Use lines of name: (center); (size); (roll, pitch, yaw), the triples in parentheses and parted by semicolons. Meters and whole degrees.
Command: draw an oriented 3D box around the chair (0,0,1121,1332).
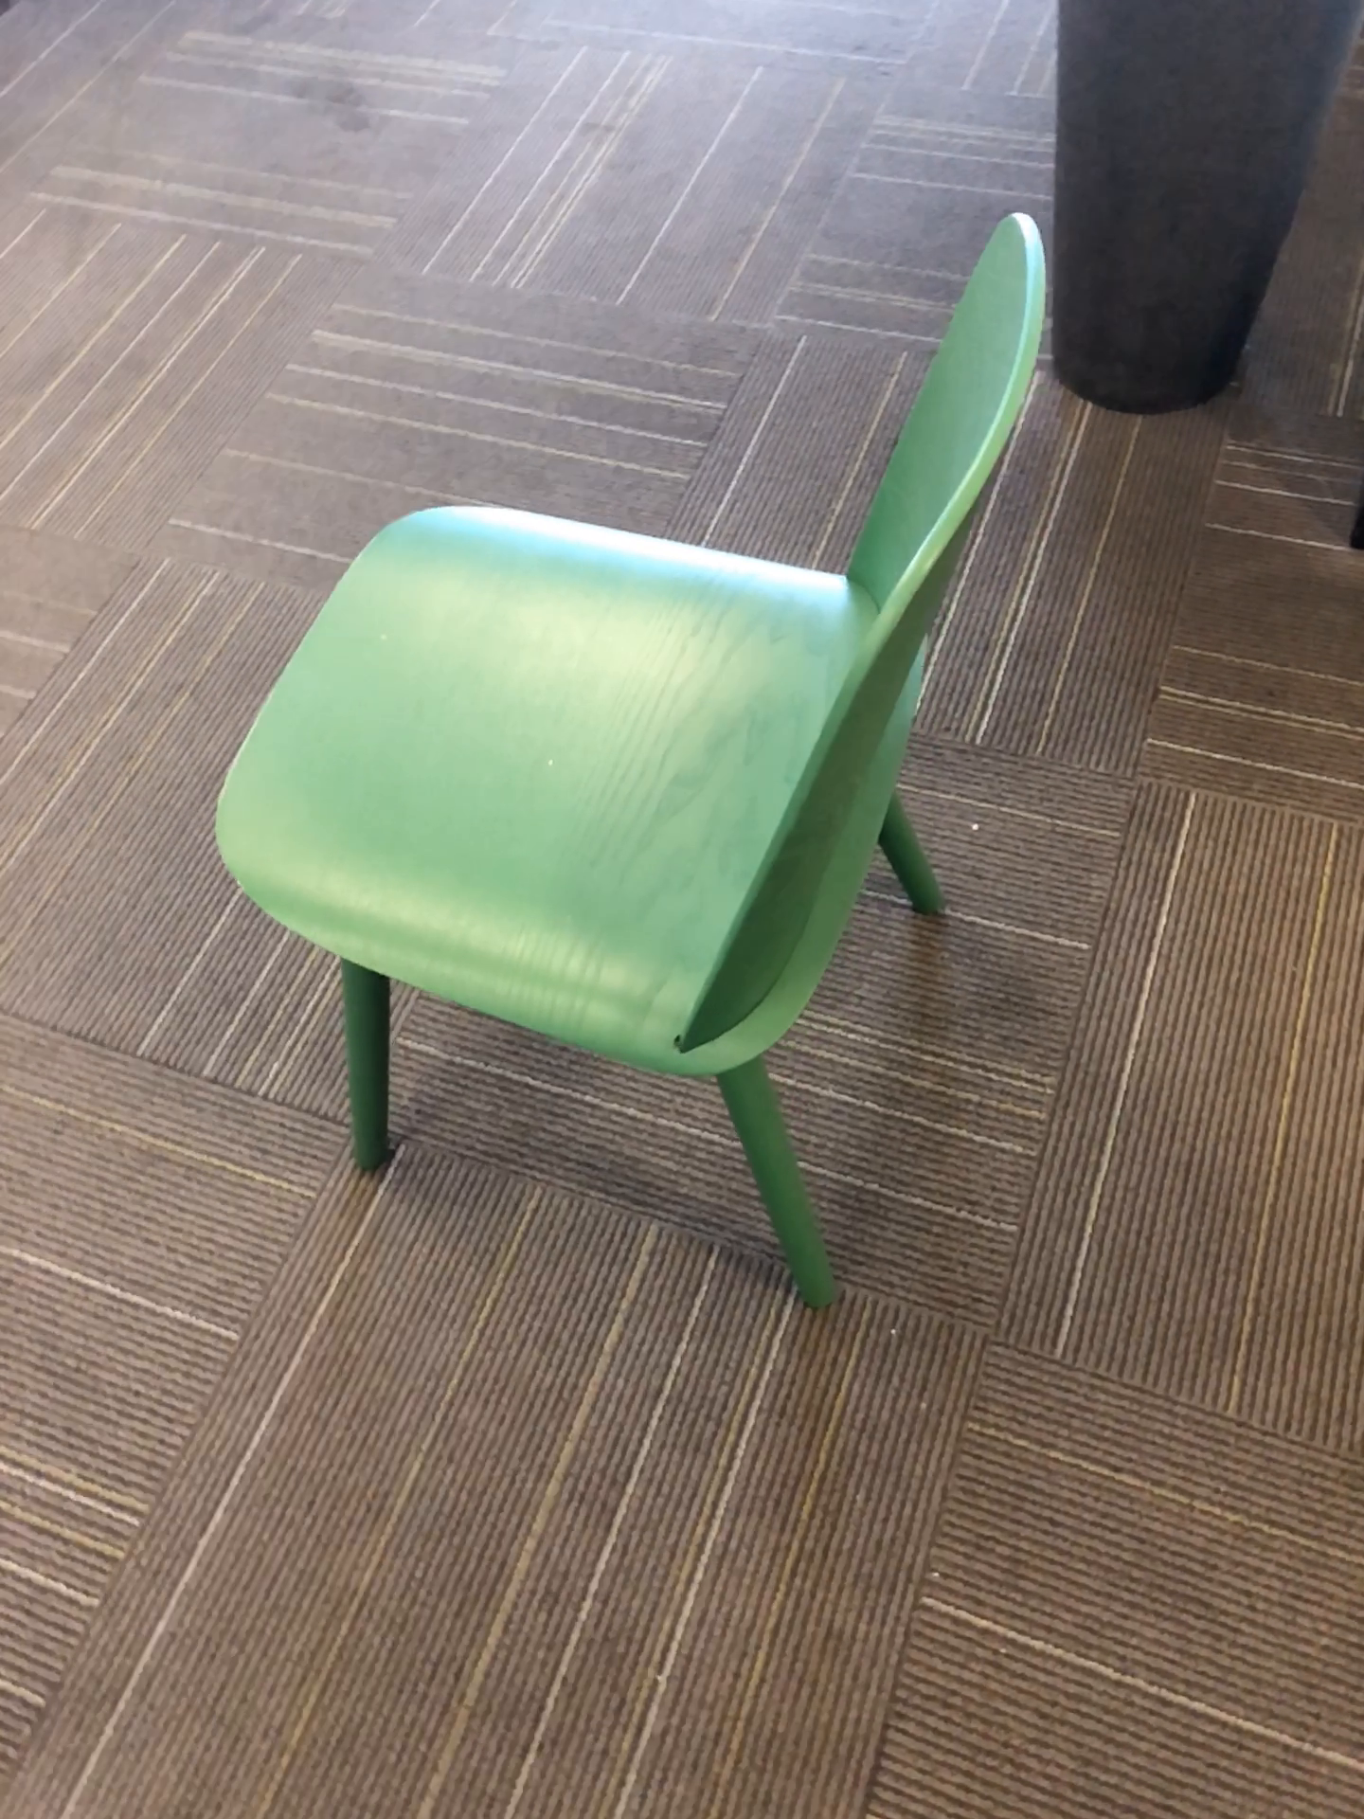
chair: (-0.042, -0.137, 1.060); (0.501, 0.778, 0.501); (12, 58, 14)
